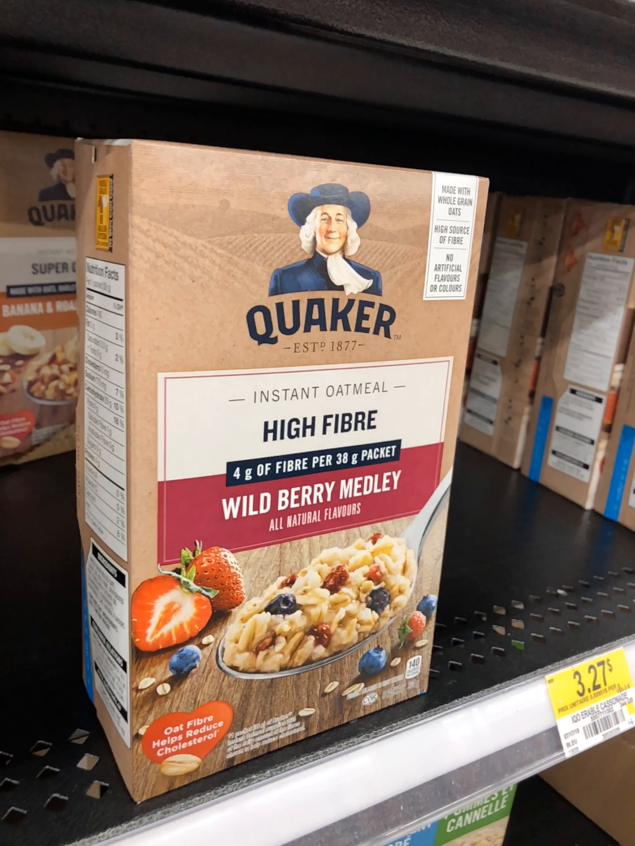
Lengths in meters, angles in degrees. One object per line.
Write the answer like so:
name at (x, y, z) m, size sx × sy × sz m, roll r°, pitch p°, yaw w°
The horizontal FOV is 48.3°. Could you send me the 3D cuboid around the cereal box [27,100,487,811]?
cereal box at (-0.022, 0.007, 0.246) m, size 0.130 × 0.199 × 0.060 m, roll -6°, pitch 18°, yaw -31°
